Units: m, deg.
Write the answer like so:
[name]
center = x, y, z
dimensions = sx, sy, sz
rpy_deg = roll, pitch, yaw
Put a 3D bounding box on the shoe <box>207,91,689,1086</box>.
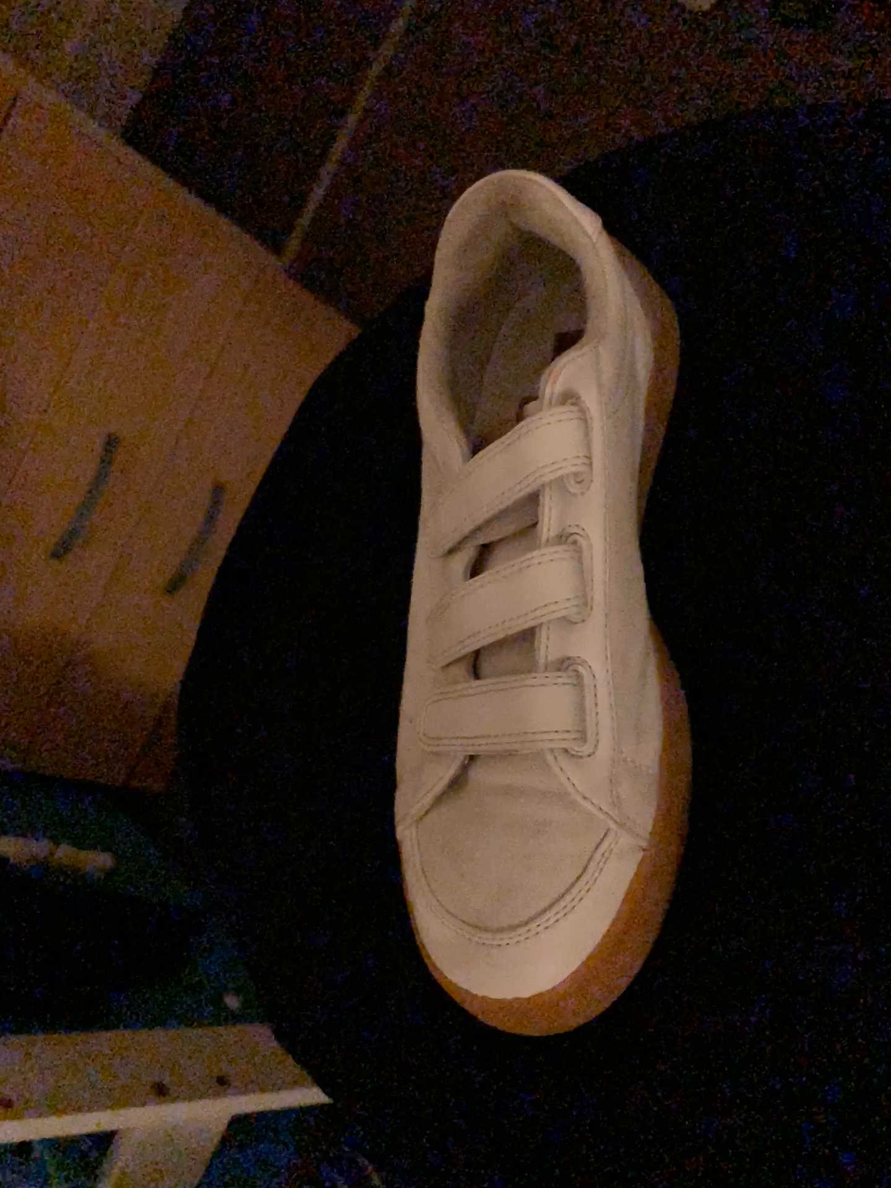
[shoe]
center = 0.011, -0.005, 0.280
dimensions = 0.096, 0.079, 0.255
rpy_deg = -11, 65, 38
